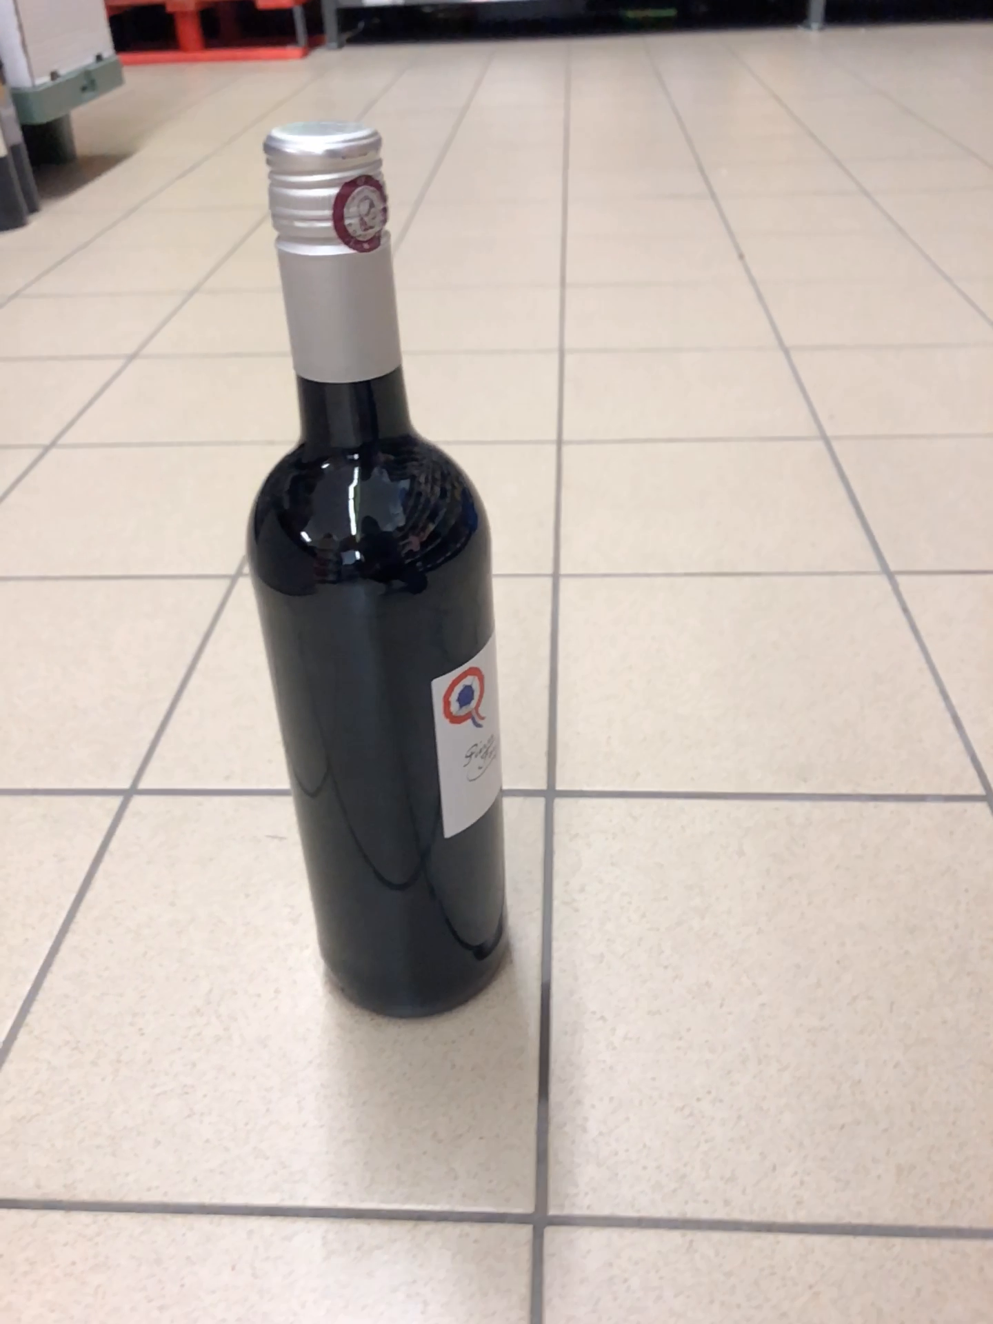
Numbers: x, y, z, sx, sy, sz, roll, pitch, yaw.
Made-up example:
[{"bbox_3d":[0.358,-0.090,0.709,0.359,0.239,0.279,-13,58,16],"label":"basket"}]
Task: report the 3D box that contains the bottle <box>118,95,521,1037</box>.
[{"bbox_3d":[-0.038,-0.010,0.356,0.080,0.298,0.080,-2,34,1],"label":"bottle"}]
